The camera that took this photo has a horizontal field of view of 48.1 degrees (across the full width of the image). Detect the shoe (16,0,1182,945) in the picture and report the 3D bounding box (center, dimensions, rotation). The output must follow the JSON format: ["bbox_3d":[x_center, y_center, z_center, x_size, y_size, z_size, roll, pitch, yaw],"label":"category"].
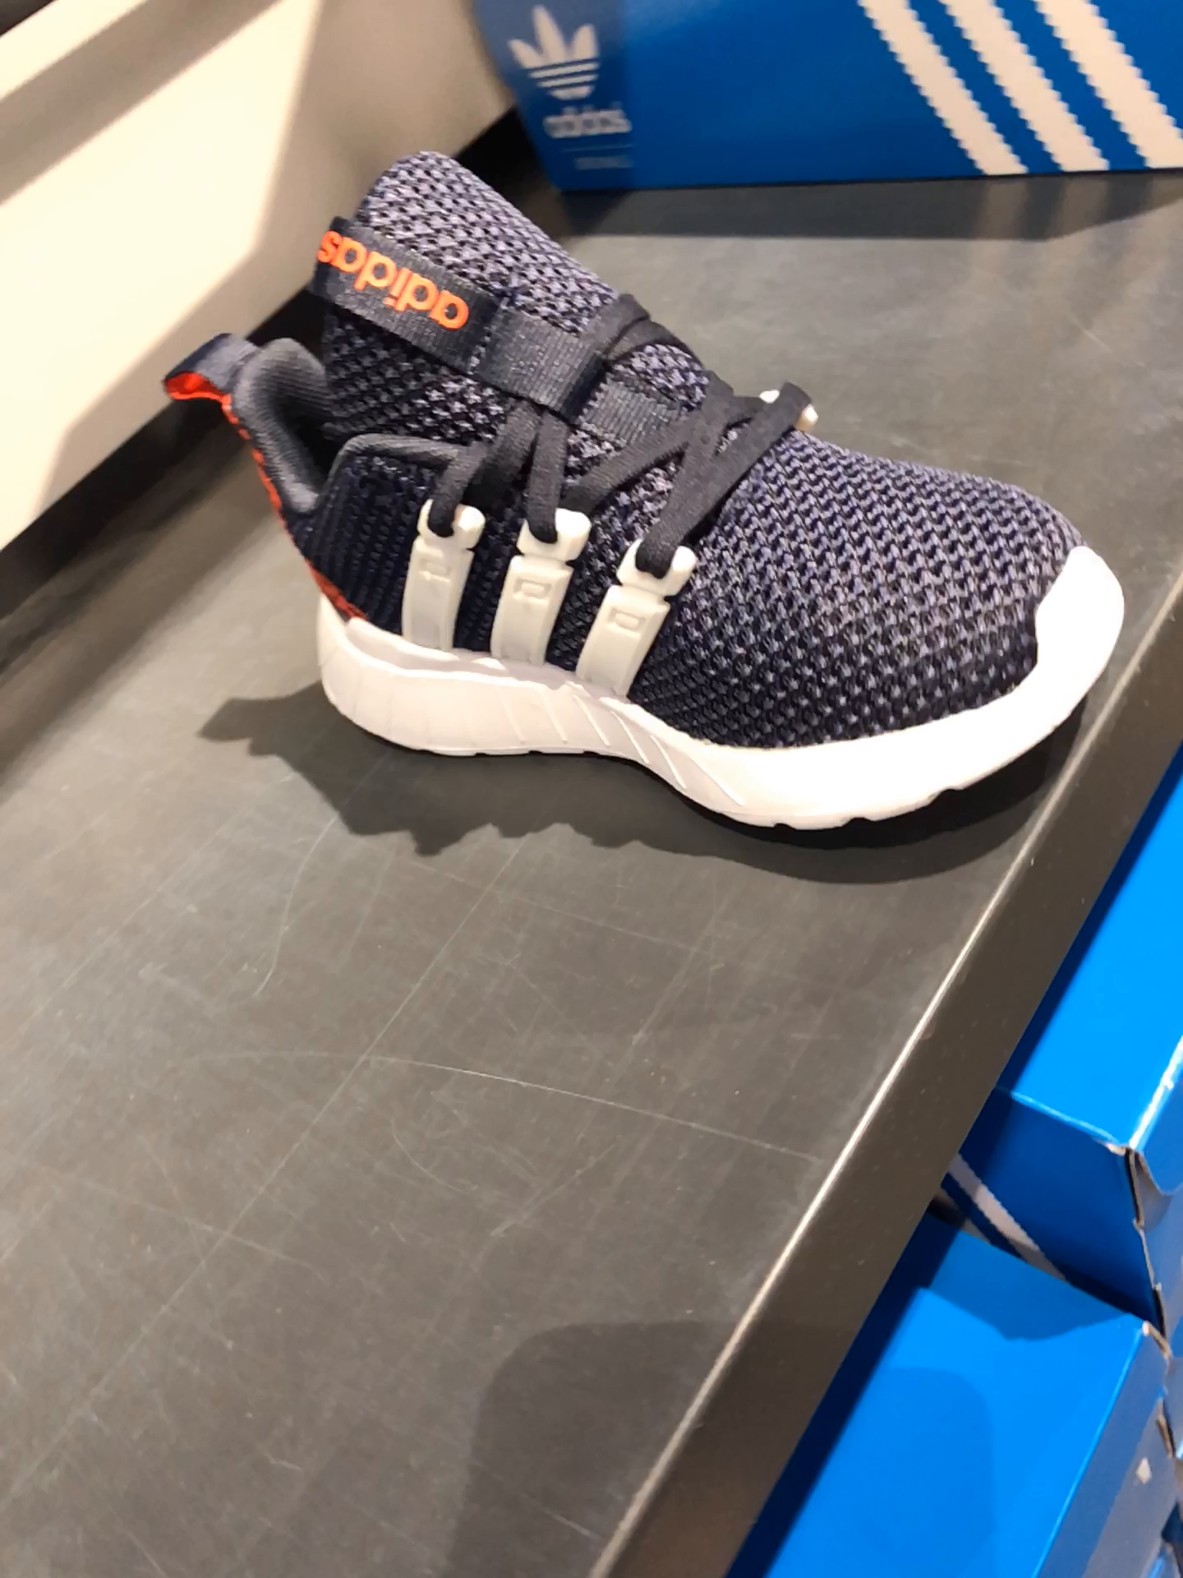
[{"bbox_3d":[-0.001,-0.062,0.266,0.201,0.110,0.090,14,56,41],"label":"shoe"}]
